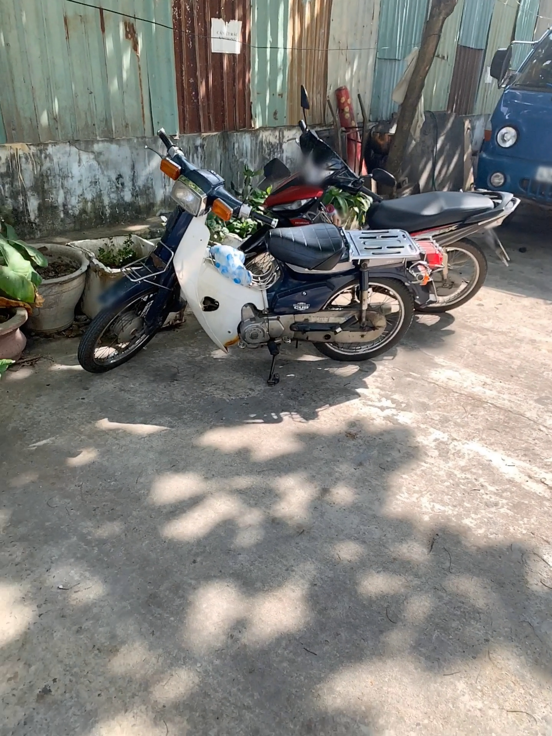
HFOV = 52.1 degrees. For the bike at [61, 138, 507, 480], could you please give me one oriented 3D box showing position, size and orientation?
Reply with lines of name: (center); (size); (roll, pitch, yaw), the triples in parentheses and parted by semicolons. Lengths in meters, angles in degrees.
bike: (-0.026, -0.309, 2.277); (1.476, 1.024, 0.656); (-8, 30, -16)
